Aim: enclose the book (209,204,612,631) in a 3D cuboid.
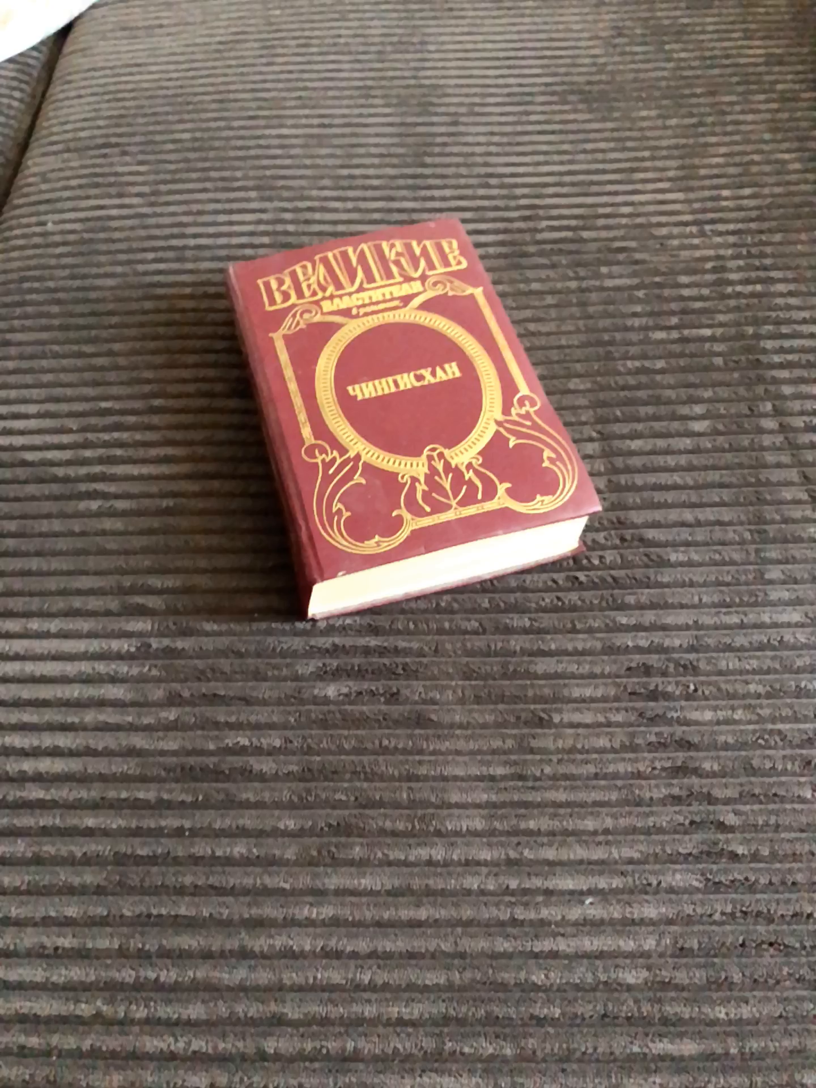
[{"bbox_3d":[-0.008,-0.073,0.446,0.137,0.050,0.203,-14,58,-9],"label":"book"}]
